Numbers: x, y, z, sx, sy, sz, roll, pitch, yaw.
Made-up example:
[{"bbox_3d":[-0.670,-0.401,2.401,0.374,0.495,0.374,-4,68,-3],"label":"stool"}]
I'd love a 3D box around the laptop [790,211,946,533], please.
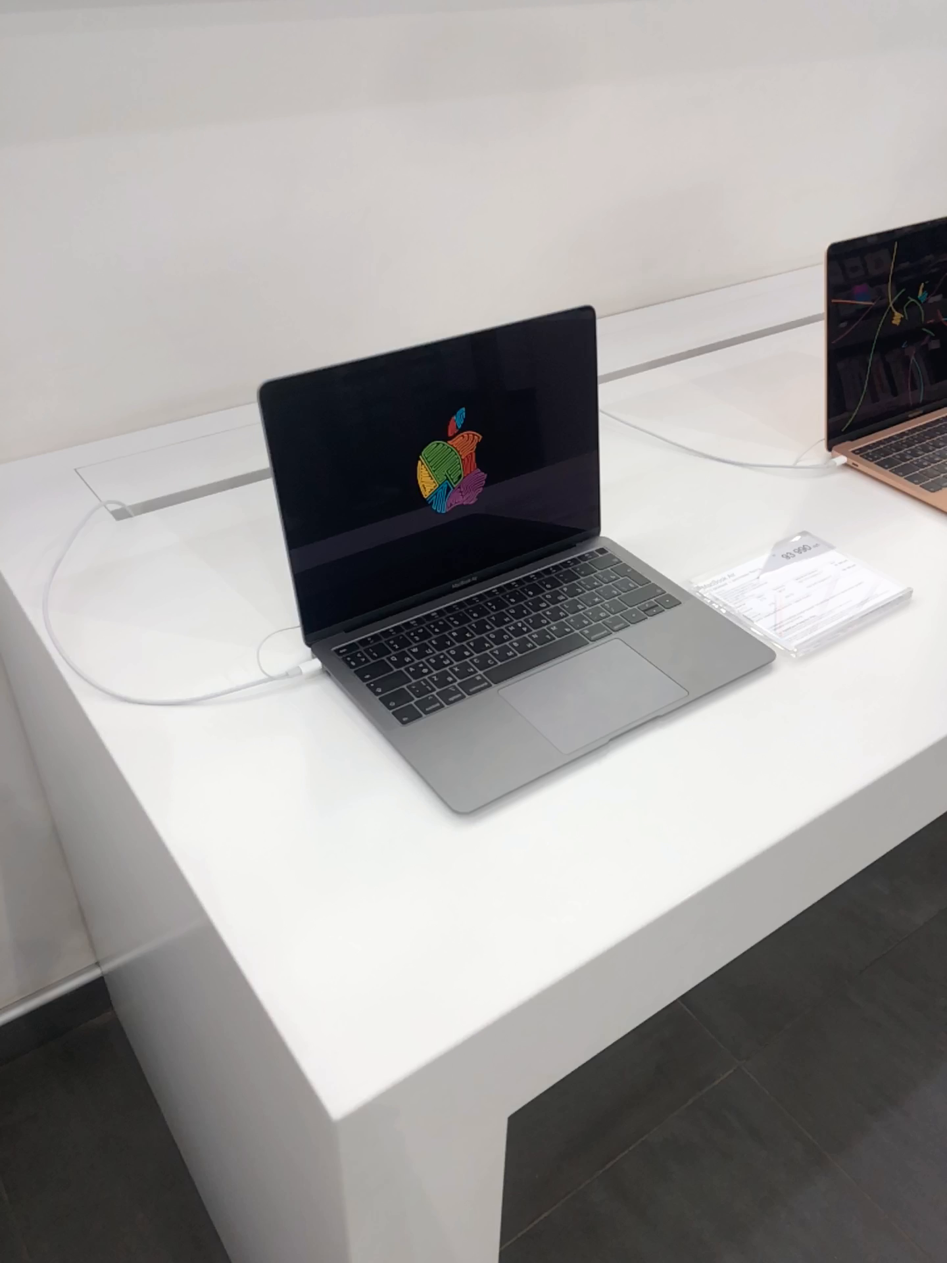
[{"bbox_3d":[0.528,-0.278,1.038,0.294,0.184,0.261,-20,41,-27],"label":"laptop"}]

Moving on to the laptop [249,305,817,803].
[{"bbox_3d":[0.036,-0.078,0.756,0.285,0.194,0.251,-22,43,-29],"label":"laptop"}]
